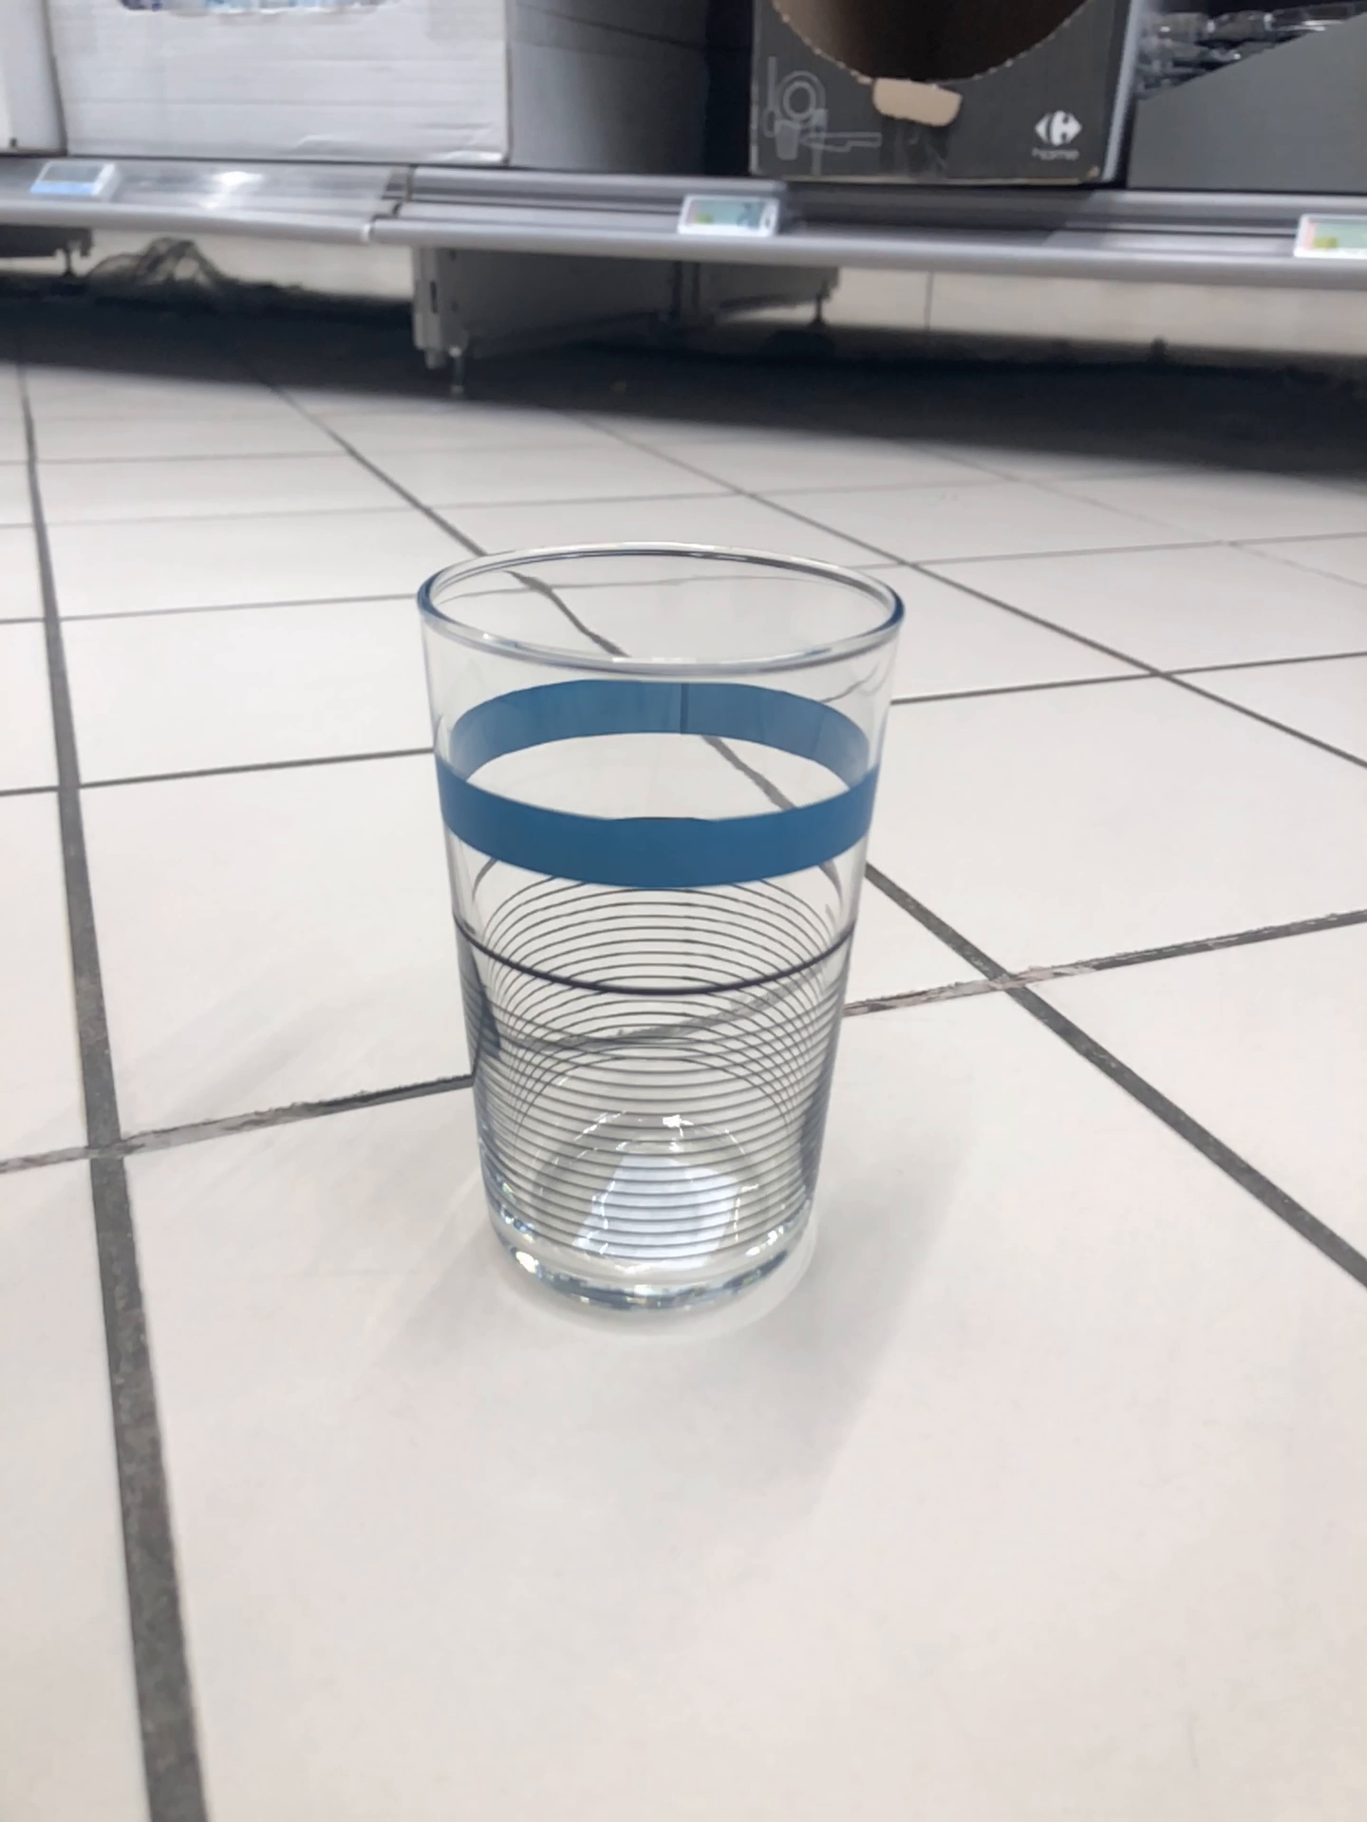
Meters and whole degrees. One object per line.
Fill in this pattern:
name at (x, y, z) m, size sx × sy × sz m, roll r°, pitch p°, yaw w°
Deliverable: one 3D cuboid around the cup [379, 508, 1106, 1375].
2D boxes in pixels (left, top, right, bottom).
cup at (0.002, -0.003, 0.237) m, size 0.079 × 0.102 × 0.080 m, roll 1°, pitch 24°, yaw -1°
